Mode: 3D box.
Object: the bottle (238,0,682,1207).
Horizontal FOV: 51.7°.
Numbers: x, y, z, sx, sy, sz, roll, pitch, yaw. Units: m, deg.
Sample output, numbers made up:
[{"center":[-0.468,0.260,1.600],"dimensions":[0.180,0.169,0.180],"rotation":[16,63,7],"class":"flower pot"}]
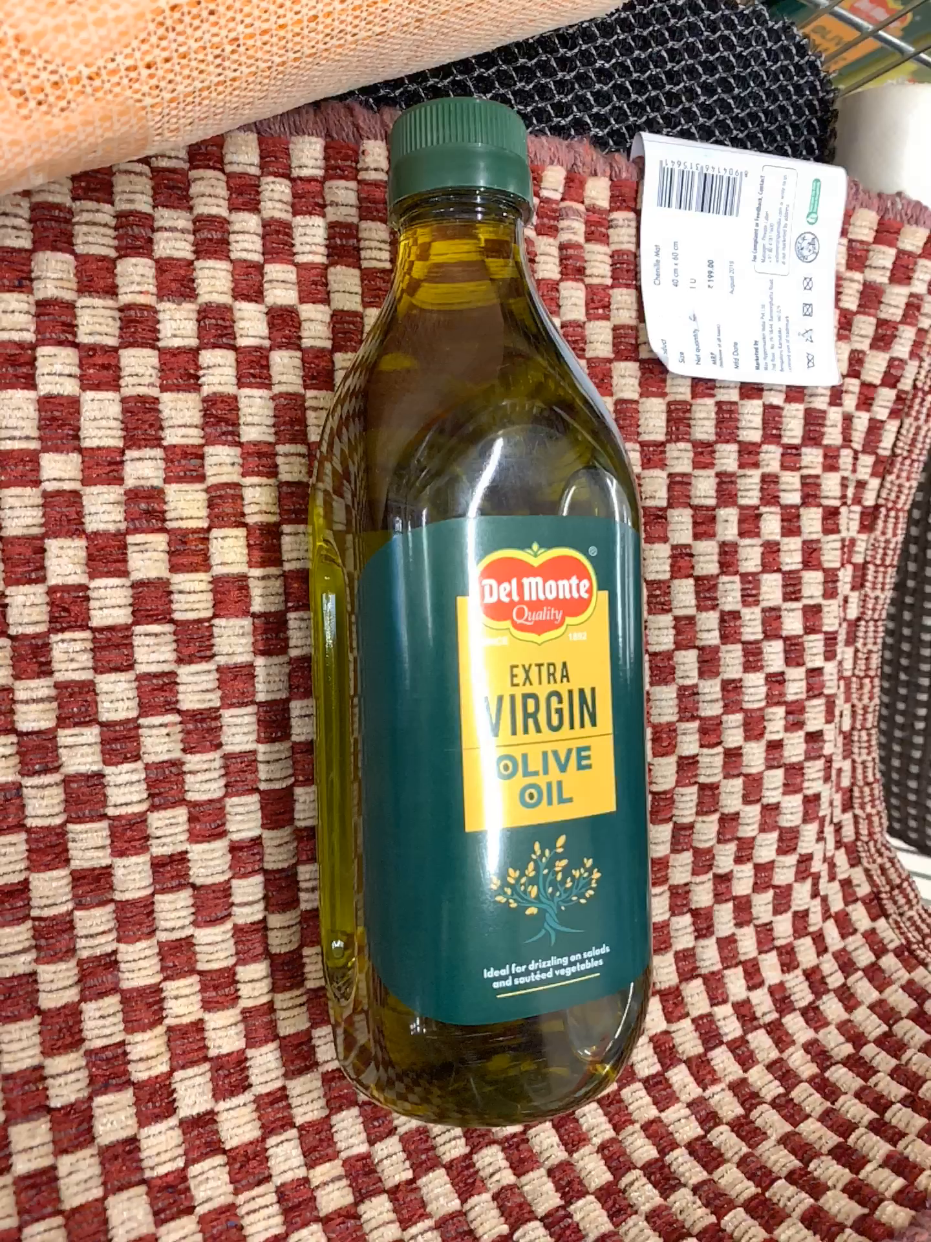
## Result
[{"center":[-0.003,-0.009,0.244],"dimensions":[0.080,0.080,0.250],"rotation":[-1,92,-33],"class":"bottle"}]
